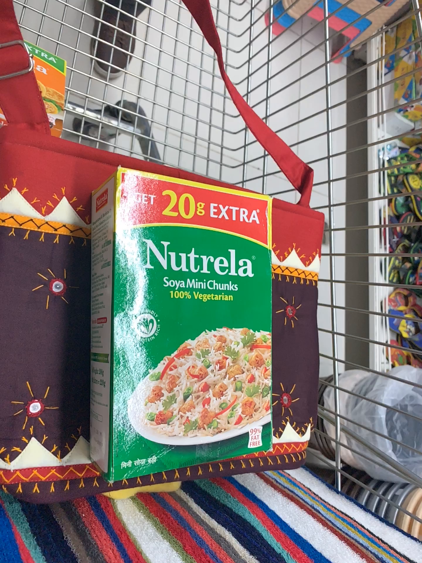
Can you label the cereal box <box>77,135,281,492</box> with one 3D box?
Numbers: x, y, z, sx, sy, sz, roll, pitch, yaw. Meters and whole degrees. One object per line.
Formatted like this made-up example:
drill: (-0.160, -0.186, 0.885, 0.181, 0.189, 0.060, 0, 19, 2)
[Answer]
cereal box: (-0.019, 0.018, 0.286, 0.120, 0.050, 0.190, 3, 83, -32)
